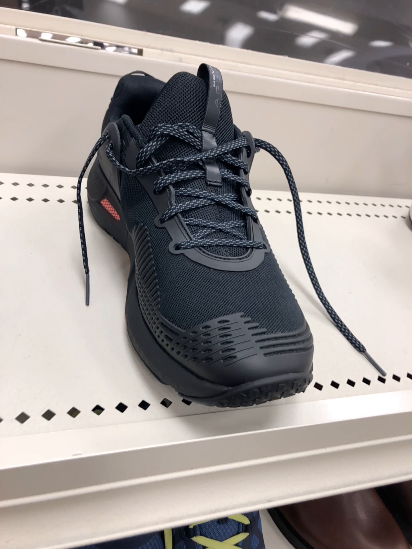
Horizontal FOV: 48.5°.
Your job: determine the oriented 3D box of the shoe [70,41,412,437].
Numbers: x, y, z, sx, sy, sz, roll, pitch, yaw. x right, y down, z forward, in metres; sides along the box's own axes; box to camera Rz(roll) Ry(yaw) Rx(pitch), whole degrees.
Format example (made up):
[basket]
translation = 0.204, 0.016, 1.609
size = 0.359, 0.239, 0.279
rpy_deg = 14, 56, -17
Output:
[shoe]
translation = -0.018, -0.073, 0.345
size = 0.120, 0.129, 0.352
rpy_deg = -1, 32, -23
